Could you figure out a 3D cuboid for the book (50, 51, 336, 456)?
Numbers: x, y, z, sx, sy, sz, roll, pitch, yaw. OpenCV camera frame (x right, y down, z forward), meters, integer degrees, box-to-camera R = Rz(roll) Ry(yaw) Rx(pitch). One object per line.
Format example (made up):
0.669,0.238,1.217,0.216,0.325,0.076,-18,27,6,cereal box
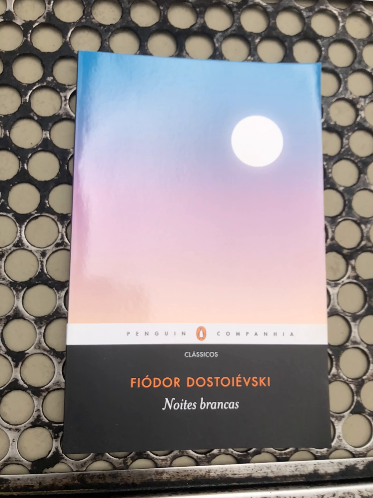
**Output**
0.006,-0.001,0.208,0.132,0.010,0.191,1,84,-5,book
